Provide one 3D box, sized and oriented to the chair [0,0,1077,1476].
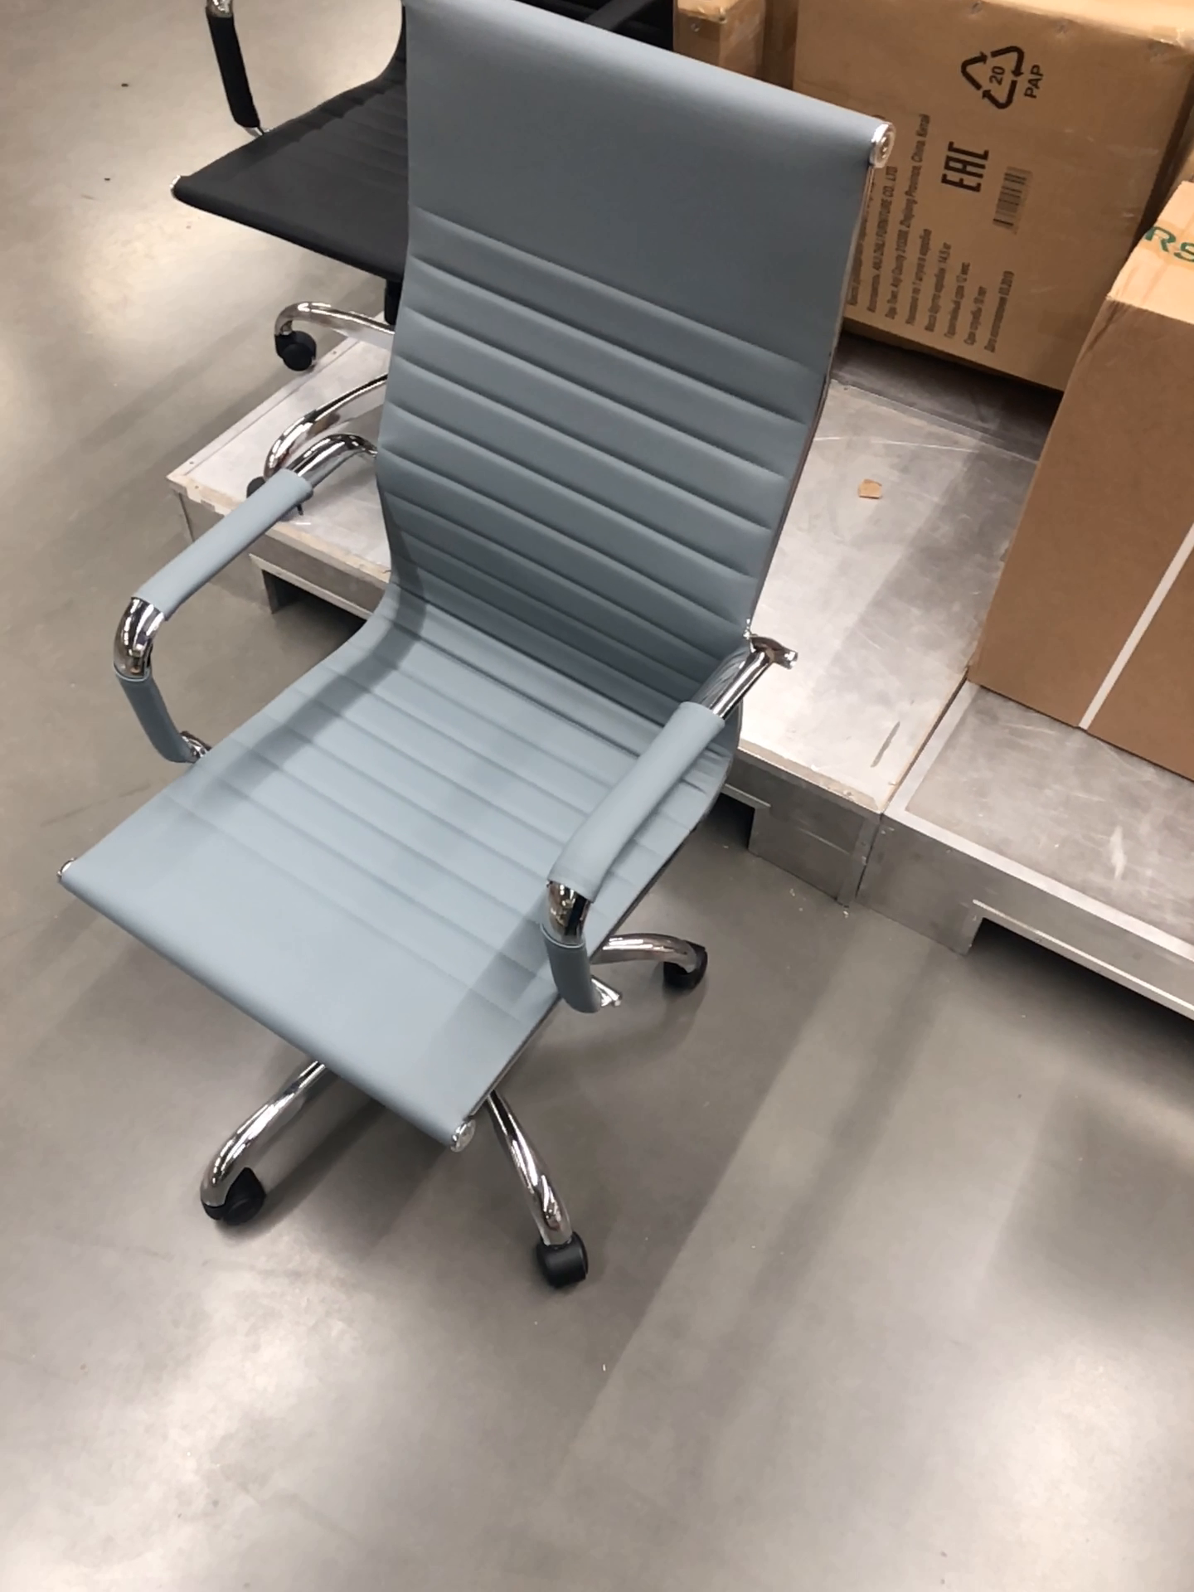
[{"bbox_3d":[-0.193,-0.018,1.299,0.711,1.213,0.753,30,57,20],"label":"chair"}]
